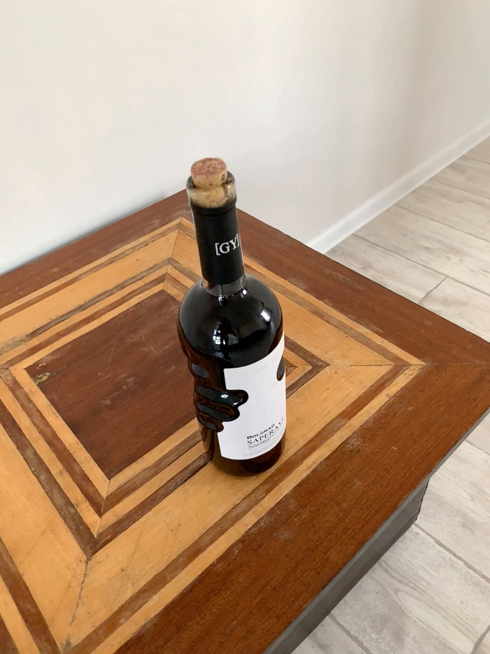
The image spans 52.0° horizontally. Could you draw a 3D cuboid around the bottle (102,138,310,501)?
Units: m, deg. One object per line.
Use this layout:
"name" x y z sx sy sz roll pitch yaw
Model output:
"bottle" -0.013 0.011 0.394 0.090 0.269 0.090 -4 43 3
